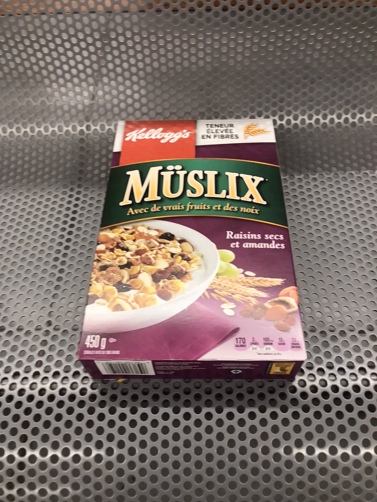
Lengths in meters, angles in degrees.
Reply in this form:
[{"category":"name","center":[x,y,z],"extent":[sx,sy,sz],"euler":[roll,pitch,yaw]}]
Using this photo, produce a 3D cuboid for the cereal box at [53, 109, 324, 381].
[{"category":"cereal box","center":[0.002,-0.022,0.371],"extent":[0.180,0.050,0.261],"euler":[-1,55,3]}]
